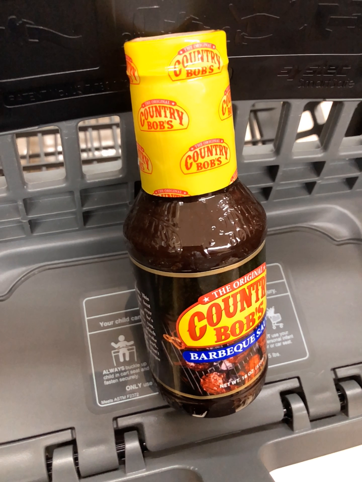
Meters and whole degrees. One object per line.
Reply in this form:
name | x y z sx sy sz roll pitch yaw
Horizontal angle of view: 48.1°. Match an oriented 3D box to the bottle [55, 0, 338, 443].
bottle | 0.004 -0.011 0.192 0.080 0.080 0.170 -15 117 -23
